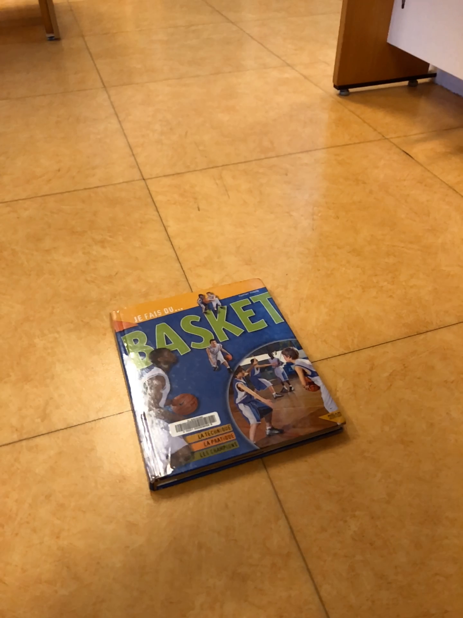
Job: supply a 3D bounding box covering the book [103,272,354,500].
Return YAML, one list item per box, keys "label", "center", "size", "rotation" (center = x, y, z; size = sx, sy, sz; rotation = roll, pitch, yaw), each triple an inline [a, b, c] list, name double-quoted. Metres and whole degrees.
- label: "book"
  center: [-0.020, 0.063, 0.576]
  size: [0.210, 0.020, 0.258]
  rotation: [-13, 43, -14]
